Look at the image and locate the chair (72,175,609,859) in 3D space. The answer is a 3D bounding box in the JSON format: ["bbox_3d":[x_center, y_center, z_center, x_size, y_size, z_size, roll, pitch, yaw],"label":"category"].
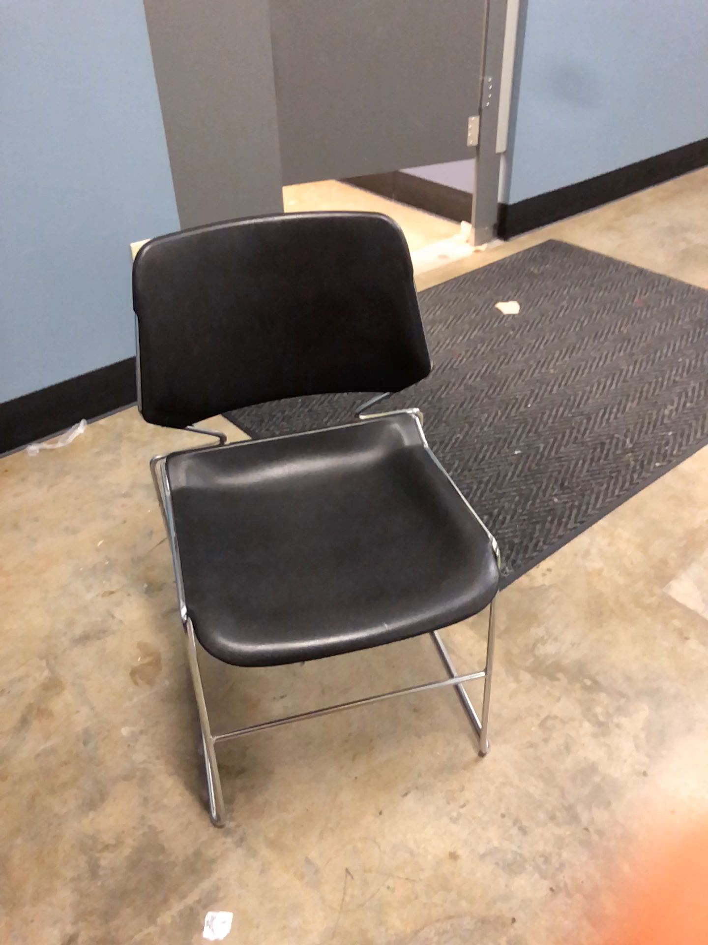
[{"bbox_3d":[-0.060,0.050,1.175,0.524,0.765,0.552,-11,38,-12],"label":"chair"}]
